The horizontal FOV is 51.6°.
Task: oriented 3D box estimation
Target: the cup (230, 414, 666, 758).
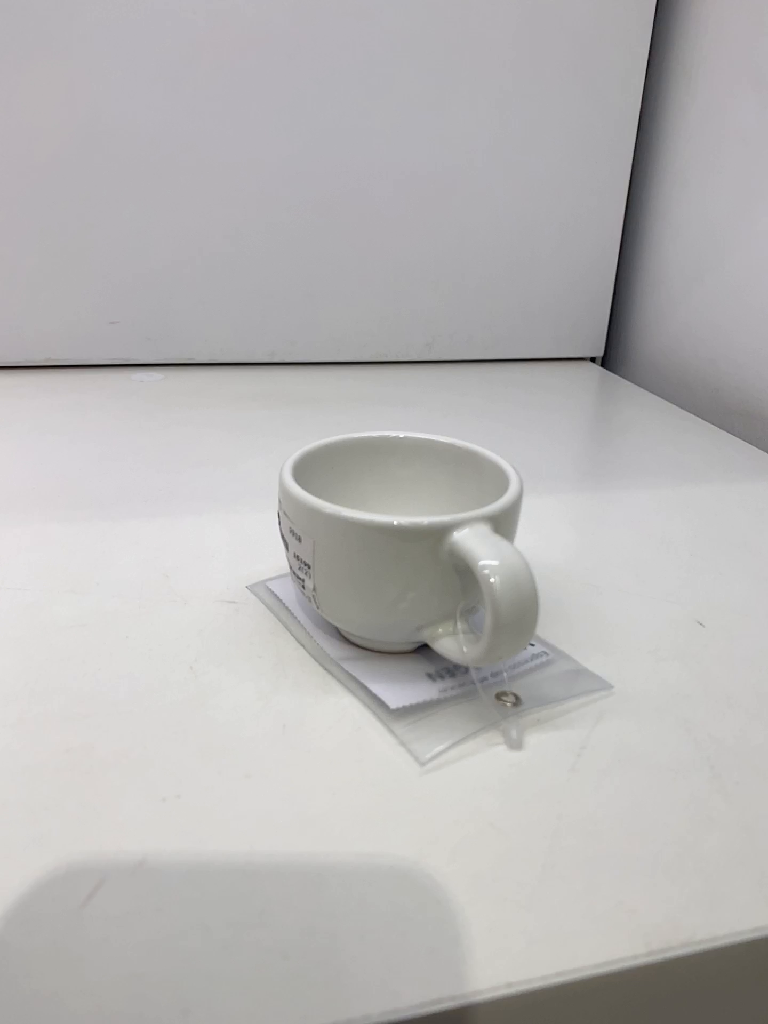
[{"bbox_3d":[0.010,0.009,0.196,0.070,0.040,0.080,-11,27,-30],"label":"cup"}]
